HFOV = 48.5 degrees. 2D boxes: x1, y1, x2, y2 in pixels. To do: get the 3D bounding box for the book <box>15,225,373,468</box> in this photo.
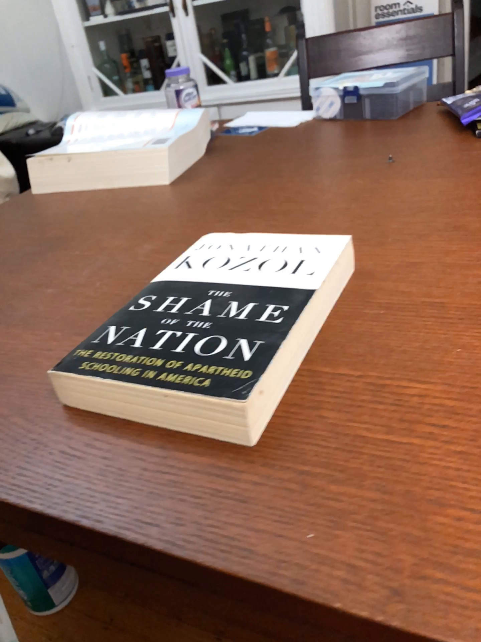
[{"bbox_3d":[-0.014,-0.007,0.381,0.160,0.030,0.231,6,35,27],"label":"book"}]
